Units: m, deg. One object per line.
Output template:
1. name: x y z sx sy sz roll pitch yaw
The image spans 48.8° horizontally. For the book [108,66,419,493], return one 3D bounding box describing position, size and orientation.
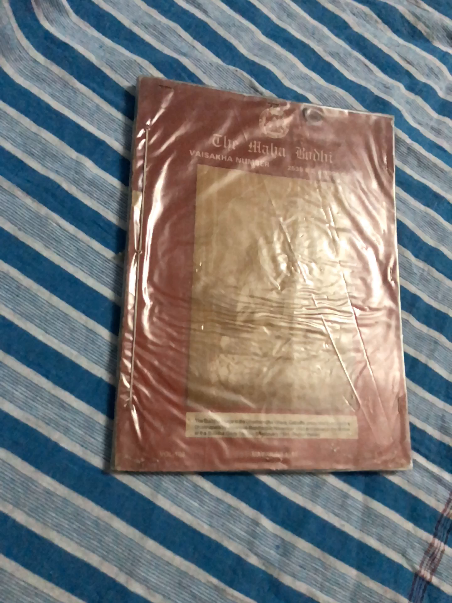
1. book: 0.026 -0.017 0.313 0.180 0.020 0.250 4 76 -15
